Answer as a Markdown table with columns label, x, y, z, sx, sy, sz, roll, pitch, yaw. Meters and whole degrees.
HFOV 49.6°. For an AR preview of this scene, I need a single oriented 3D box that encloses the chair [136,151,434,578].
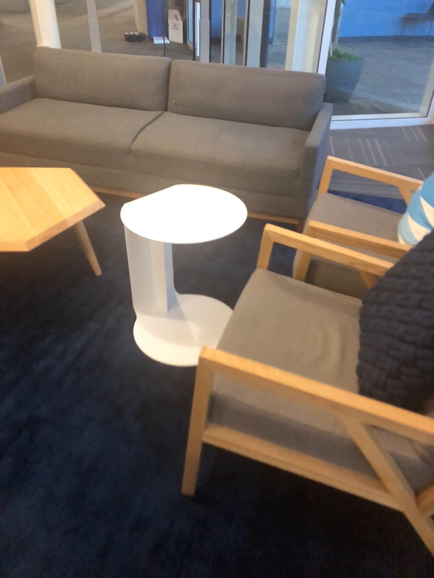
| label | x | y | z | sx | sy | sz | roll | pitch | yaw |
| --- | --- | --- | --- | --- | --- | --- | --- | --- | --- |
| chair | 0.357 | 0.168 | 1.322 | 0.850 | 0.773 | 0.747 | 12 | 37 | 14 |
